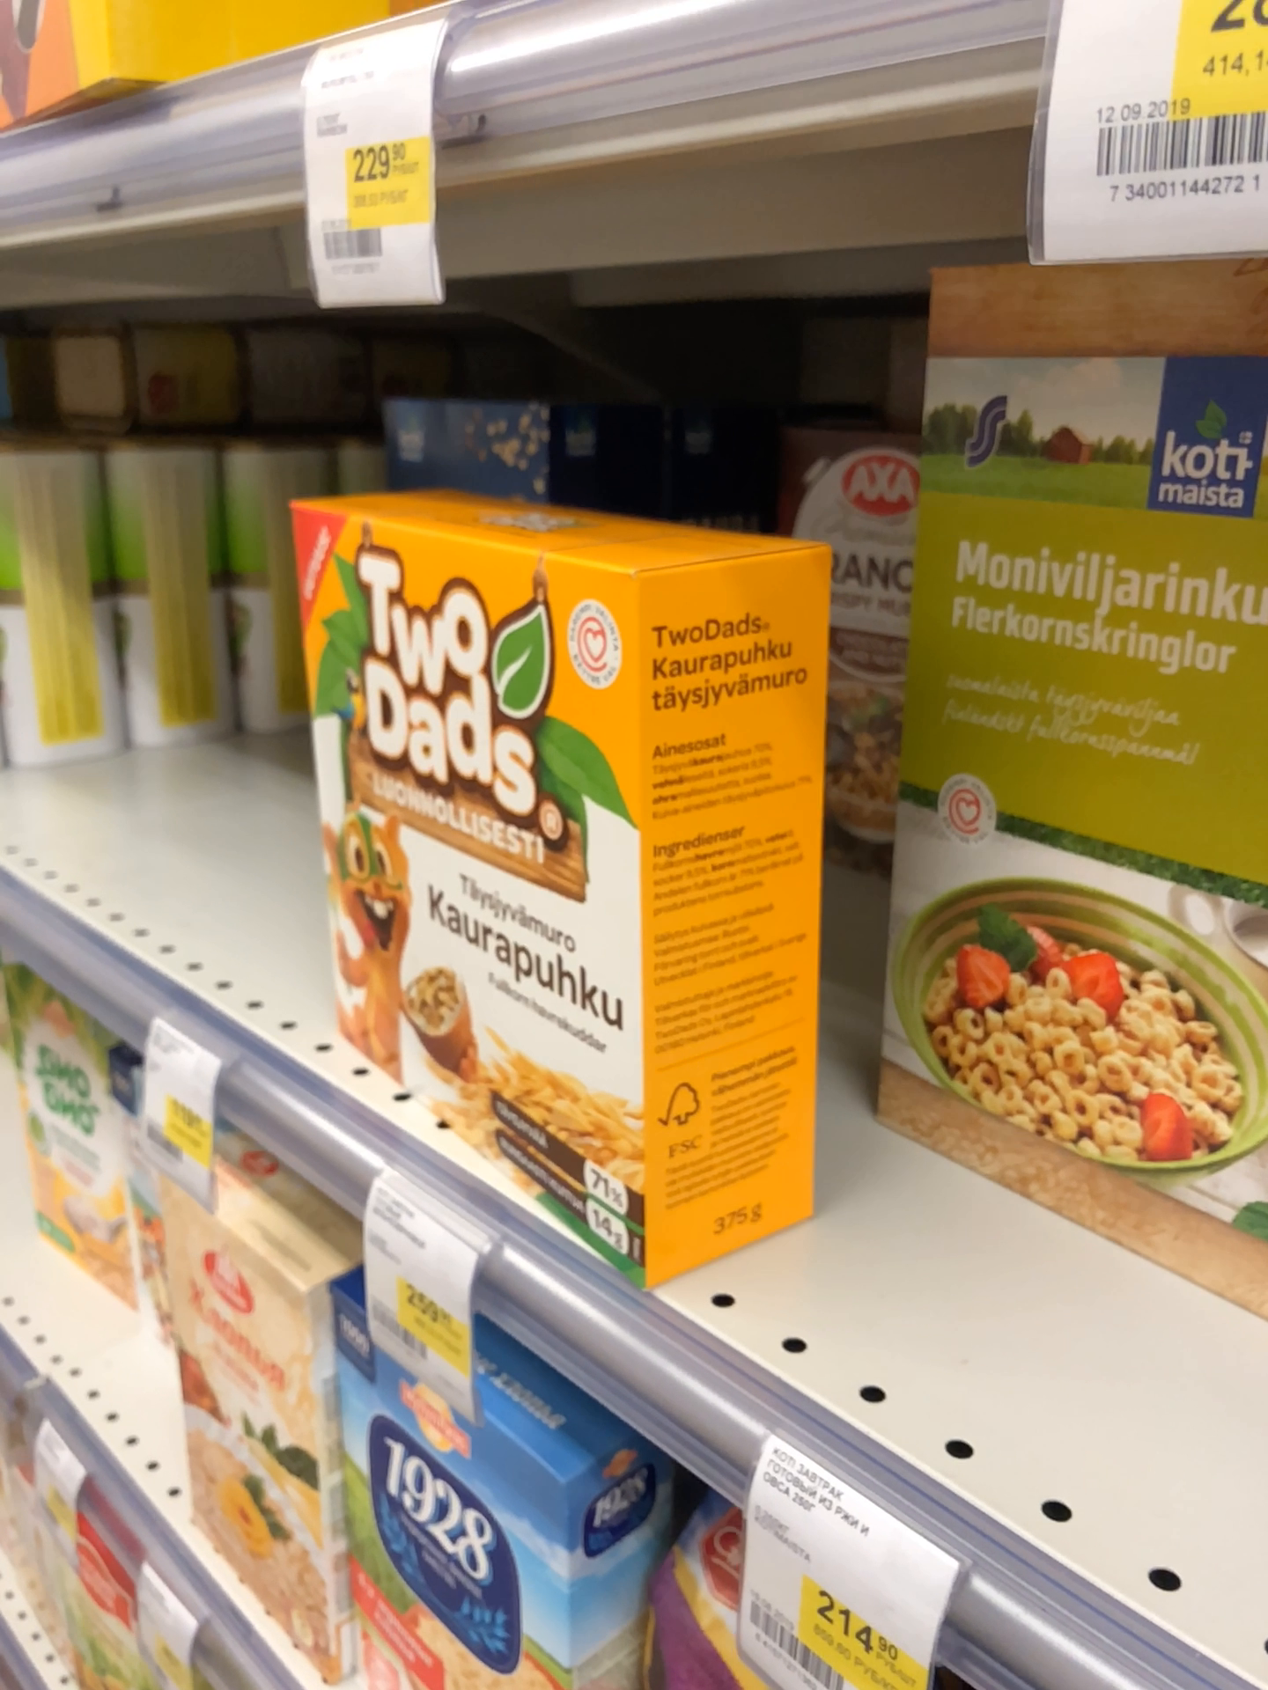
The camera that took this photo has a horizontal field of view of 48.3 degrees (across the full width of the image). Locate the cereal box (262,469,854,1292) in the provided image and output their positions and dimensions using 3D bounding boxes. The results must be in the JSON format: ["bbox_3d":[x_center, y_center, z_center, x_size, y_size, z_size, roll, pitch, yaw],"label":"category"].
[{"bbox_3d":[-0.034,-0.009,0.426,0.070,0.189,0.201,-12,21,-33],"label":"cereal box"}]
